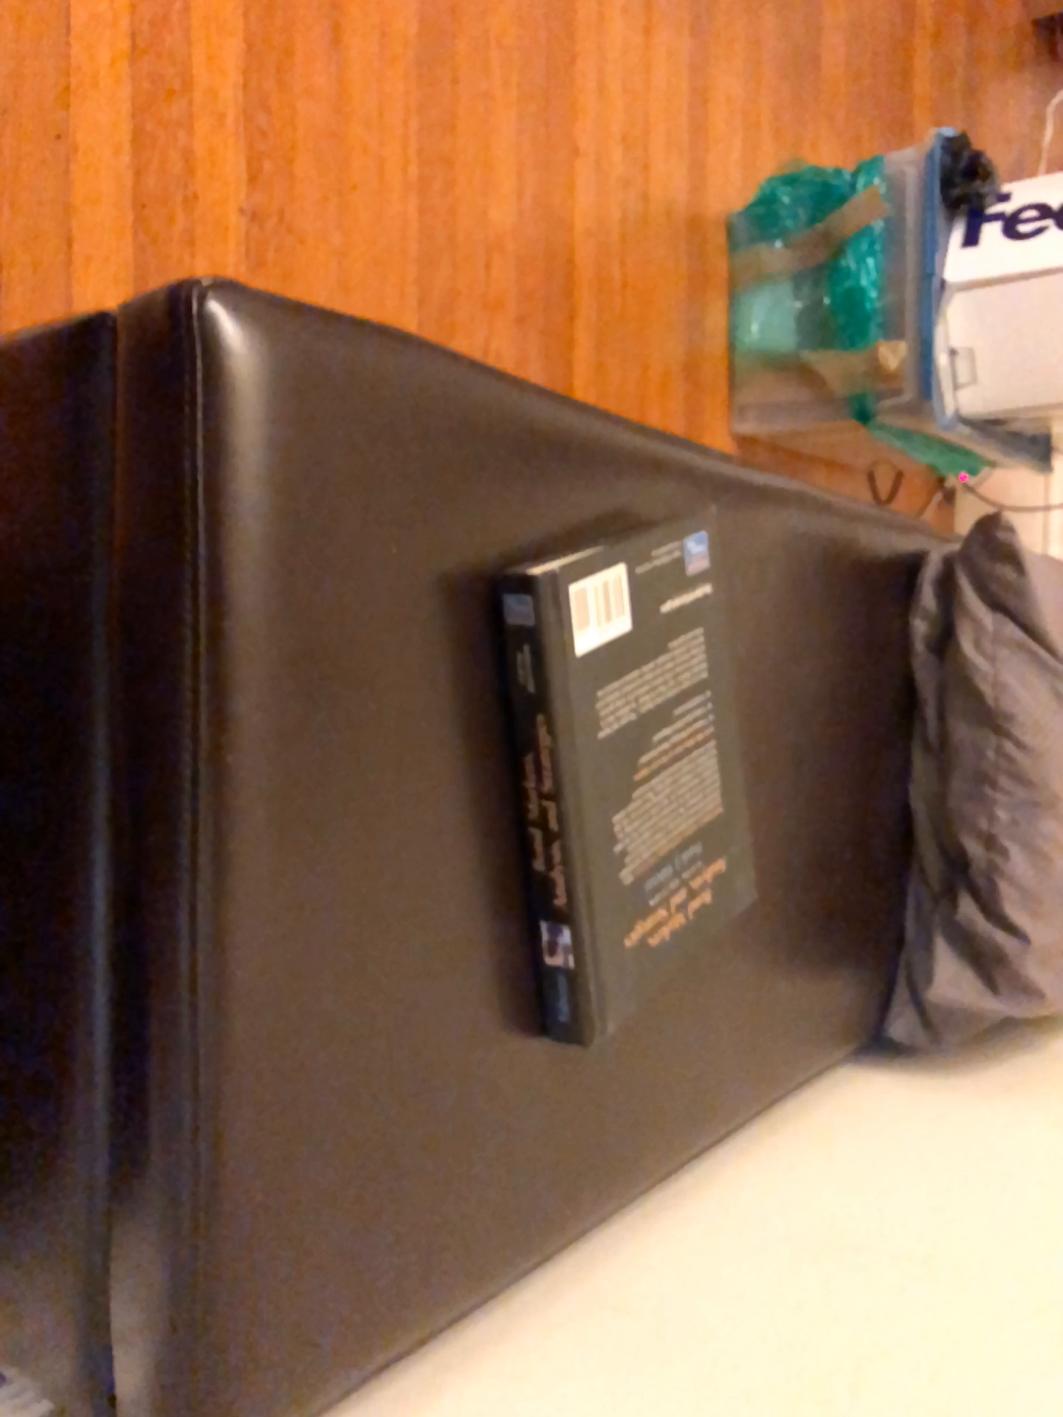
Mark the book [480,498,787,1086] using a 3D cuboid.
[{"bbox_3d":[0.068,0.032,0.638,0.201,0.040,0.260,-26,113,-51],"label":"book"}]
